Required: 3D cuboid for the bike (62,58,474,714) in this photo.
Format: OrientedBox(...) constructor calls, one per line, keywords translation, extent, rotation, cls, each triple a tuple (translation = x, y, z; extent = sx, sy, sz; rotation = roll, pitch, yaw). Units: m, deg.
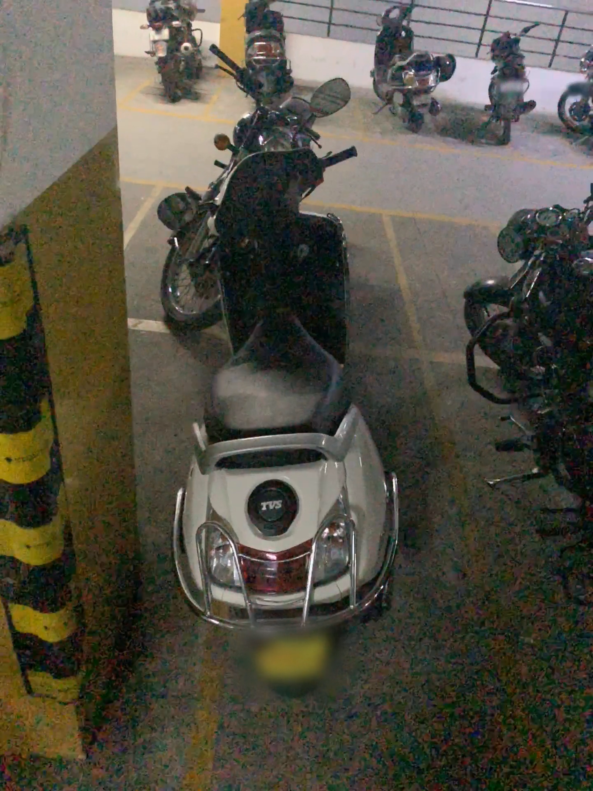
OrientedBox(translation=(-0.121, -0.142, 1.861), extent=(0.647, 1.159, 1.538), rotation=(5, 40, -5), cls="bike")
